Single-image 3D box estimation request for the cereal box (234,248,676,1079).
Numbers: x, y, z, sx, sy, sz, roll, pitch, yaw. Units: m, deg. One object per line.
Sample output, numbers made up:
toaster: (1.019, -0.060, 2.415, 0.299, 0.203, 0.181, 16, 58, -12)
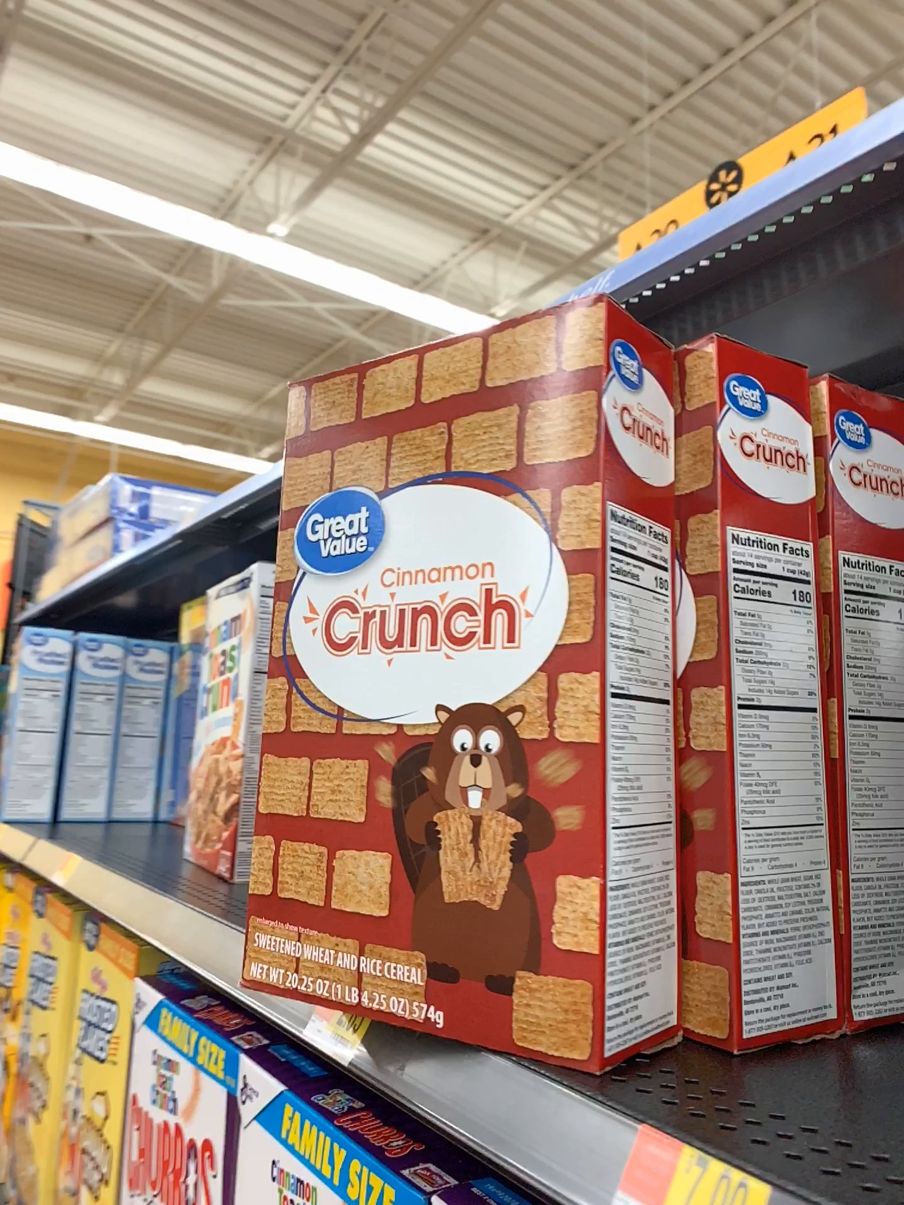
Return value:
cereal box: (0.003, 0.021, 0.449, 0.190, 0.331, 0.070, -4, -12, 33)
